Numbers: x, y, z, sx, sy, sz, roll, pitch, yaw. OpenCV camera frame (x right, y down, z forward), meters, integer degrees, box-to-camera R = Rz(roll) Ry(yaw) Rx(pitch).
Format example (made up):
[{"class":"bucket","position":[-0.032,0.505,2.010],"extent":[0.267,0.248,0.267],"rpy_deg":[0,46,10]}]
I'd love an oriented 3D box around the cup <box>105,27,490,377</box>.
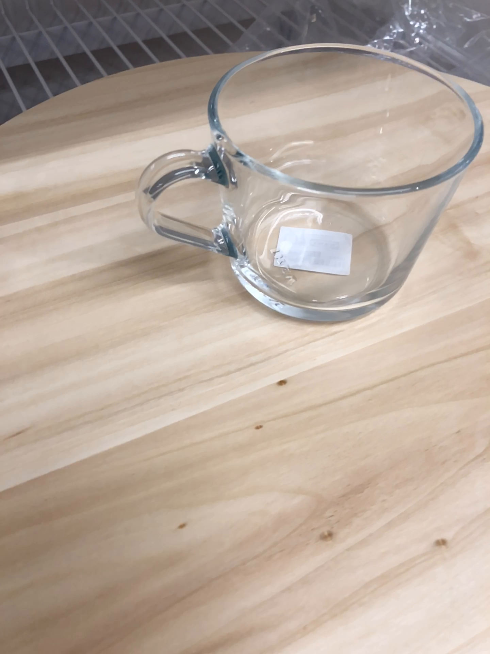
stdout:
[{"class":"cup","position":[0.023,-0.050,0.197],"extent":[0.120,0.060,0.090],"rpy_deg":[-15,52,-12]}]
